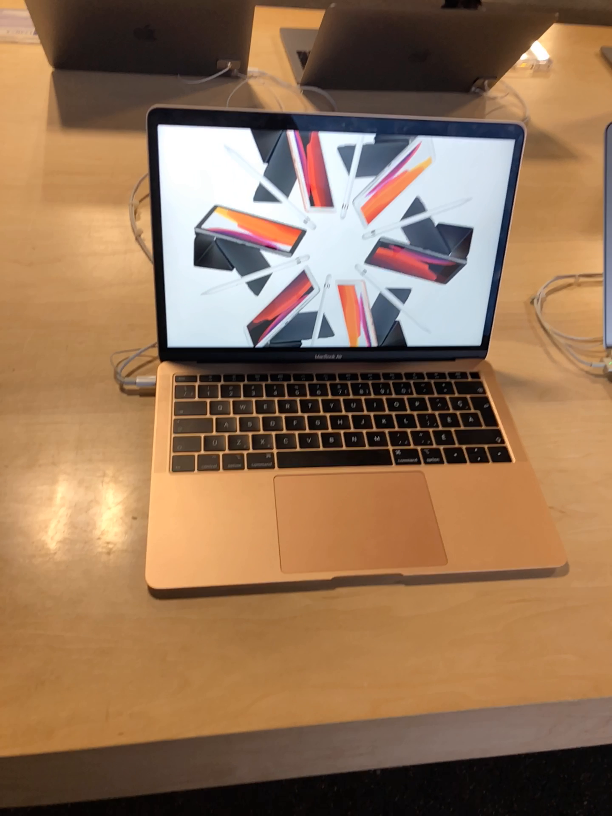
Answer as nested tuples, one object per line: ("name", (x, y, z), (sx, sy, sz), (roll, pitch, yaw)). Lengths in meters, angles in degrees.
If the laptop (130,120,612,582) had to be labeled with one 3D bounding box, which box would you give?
("laptop", (0.042, -0.052, 0.493), (0.291, 0.183, 0.284), (0, 47, -7))
